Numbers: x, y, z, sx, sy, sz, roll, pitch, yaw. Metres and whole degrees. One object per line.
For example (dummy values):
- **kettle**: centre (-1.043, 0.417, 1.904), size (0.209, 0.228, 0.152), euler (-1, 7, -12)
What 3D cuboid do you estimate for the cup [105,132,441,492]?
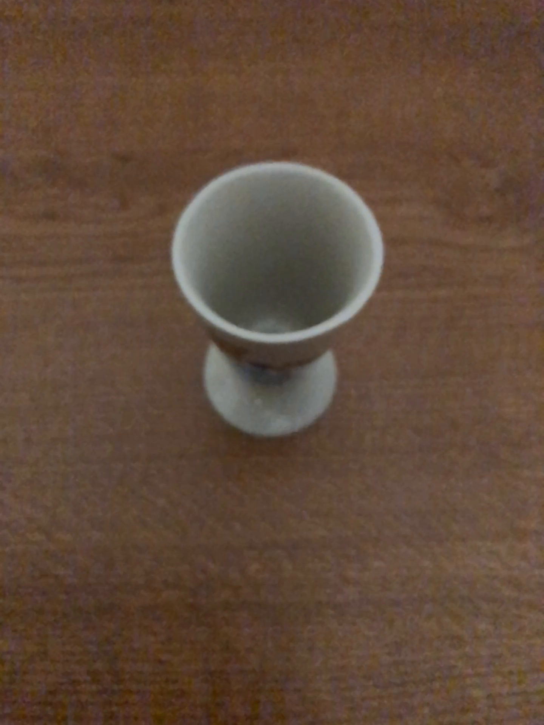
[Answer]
- **cup**: centre (-0.001, -0.011, 0.264), size (0.080, 0.120, 0.080), euler (1, 69, -2)

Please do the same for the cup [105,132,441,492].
- **cup**: centre (-0.001, -0.011, 0.264), size (0.080, 0.120, 0.080), euler (1, 69, -2)
